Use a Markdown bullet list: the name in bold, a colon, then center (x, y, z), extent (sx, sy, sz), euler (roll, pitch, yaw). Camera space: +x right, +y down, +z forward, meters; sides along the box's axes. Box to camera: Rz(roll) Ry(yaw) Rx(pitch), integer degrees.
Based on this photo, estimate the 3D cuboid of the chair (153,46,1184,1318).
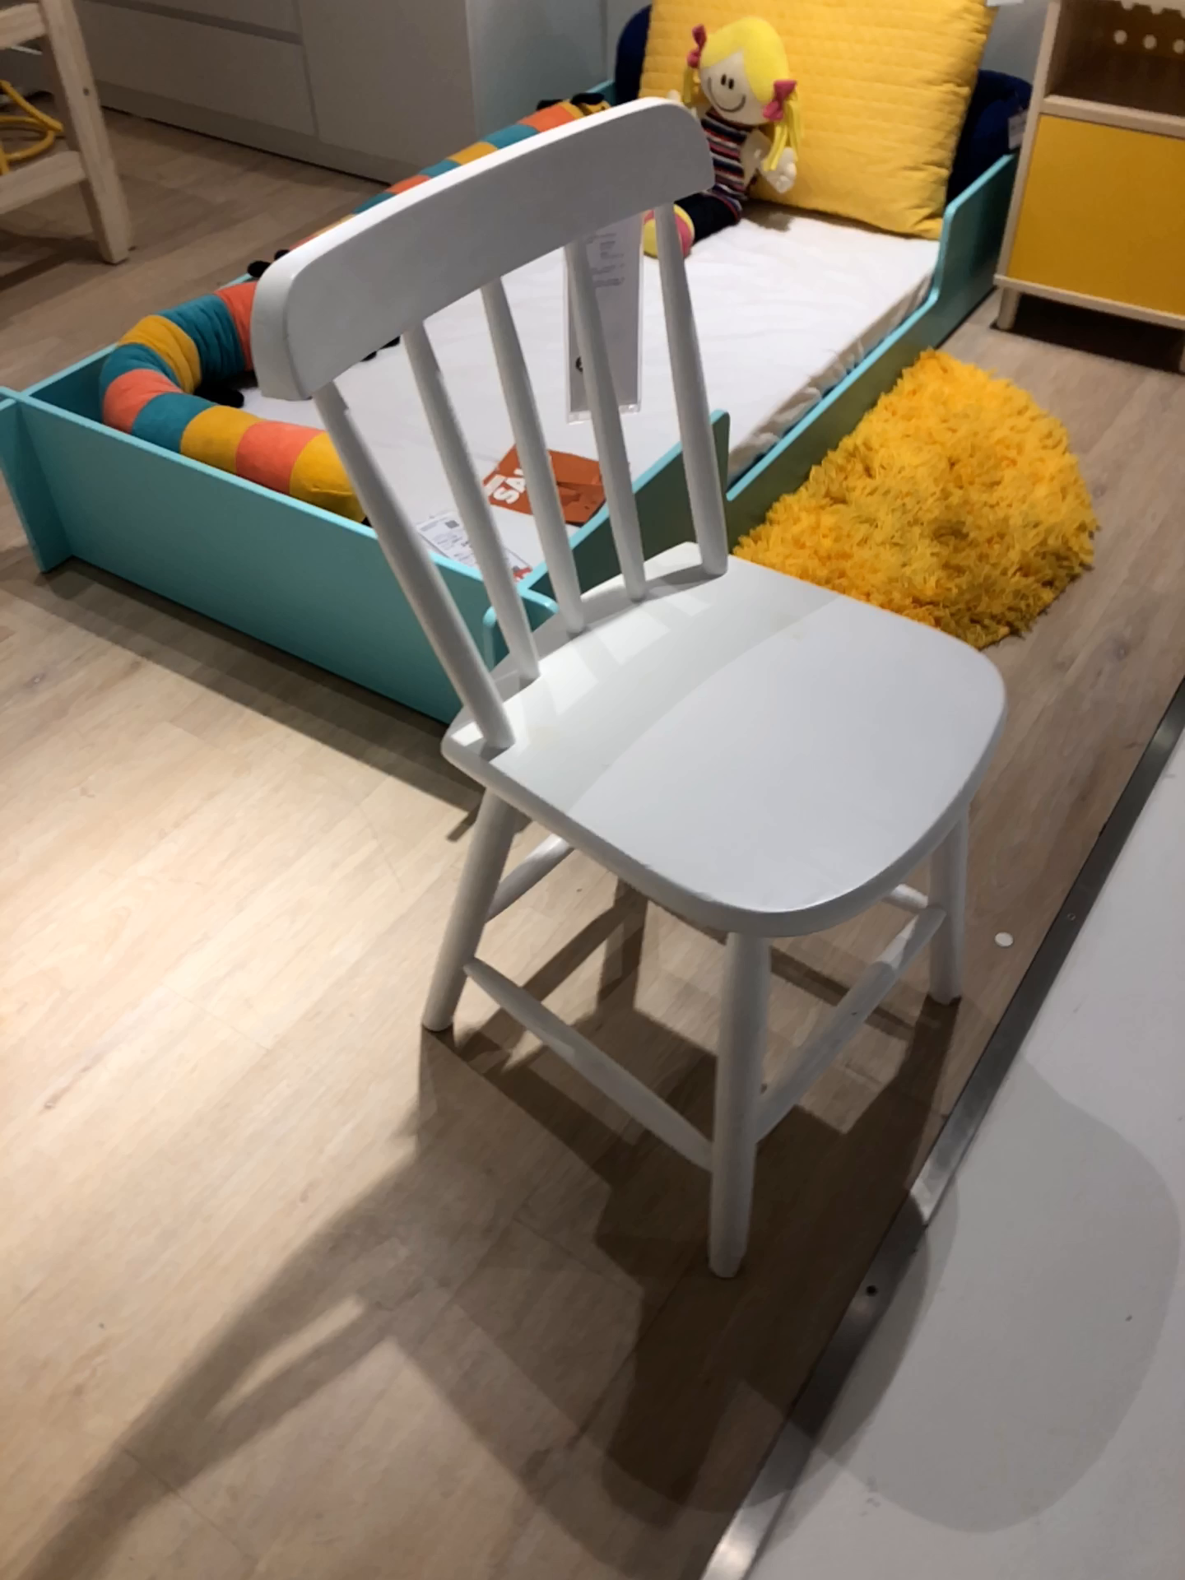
- **chair**: center (0.072, -0.061, 1.003), extent (0.431, 0.755, 0.442), euler (29, 52, 27)
